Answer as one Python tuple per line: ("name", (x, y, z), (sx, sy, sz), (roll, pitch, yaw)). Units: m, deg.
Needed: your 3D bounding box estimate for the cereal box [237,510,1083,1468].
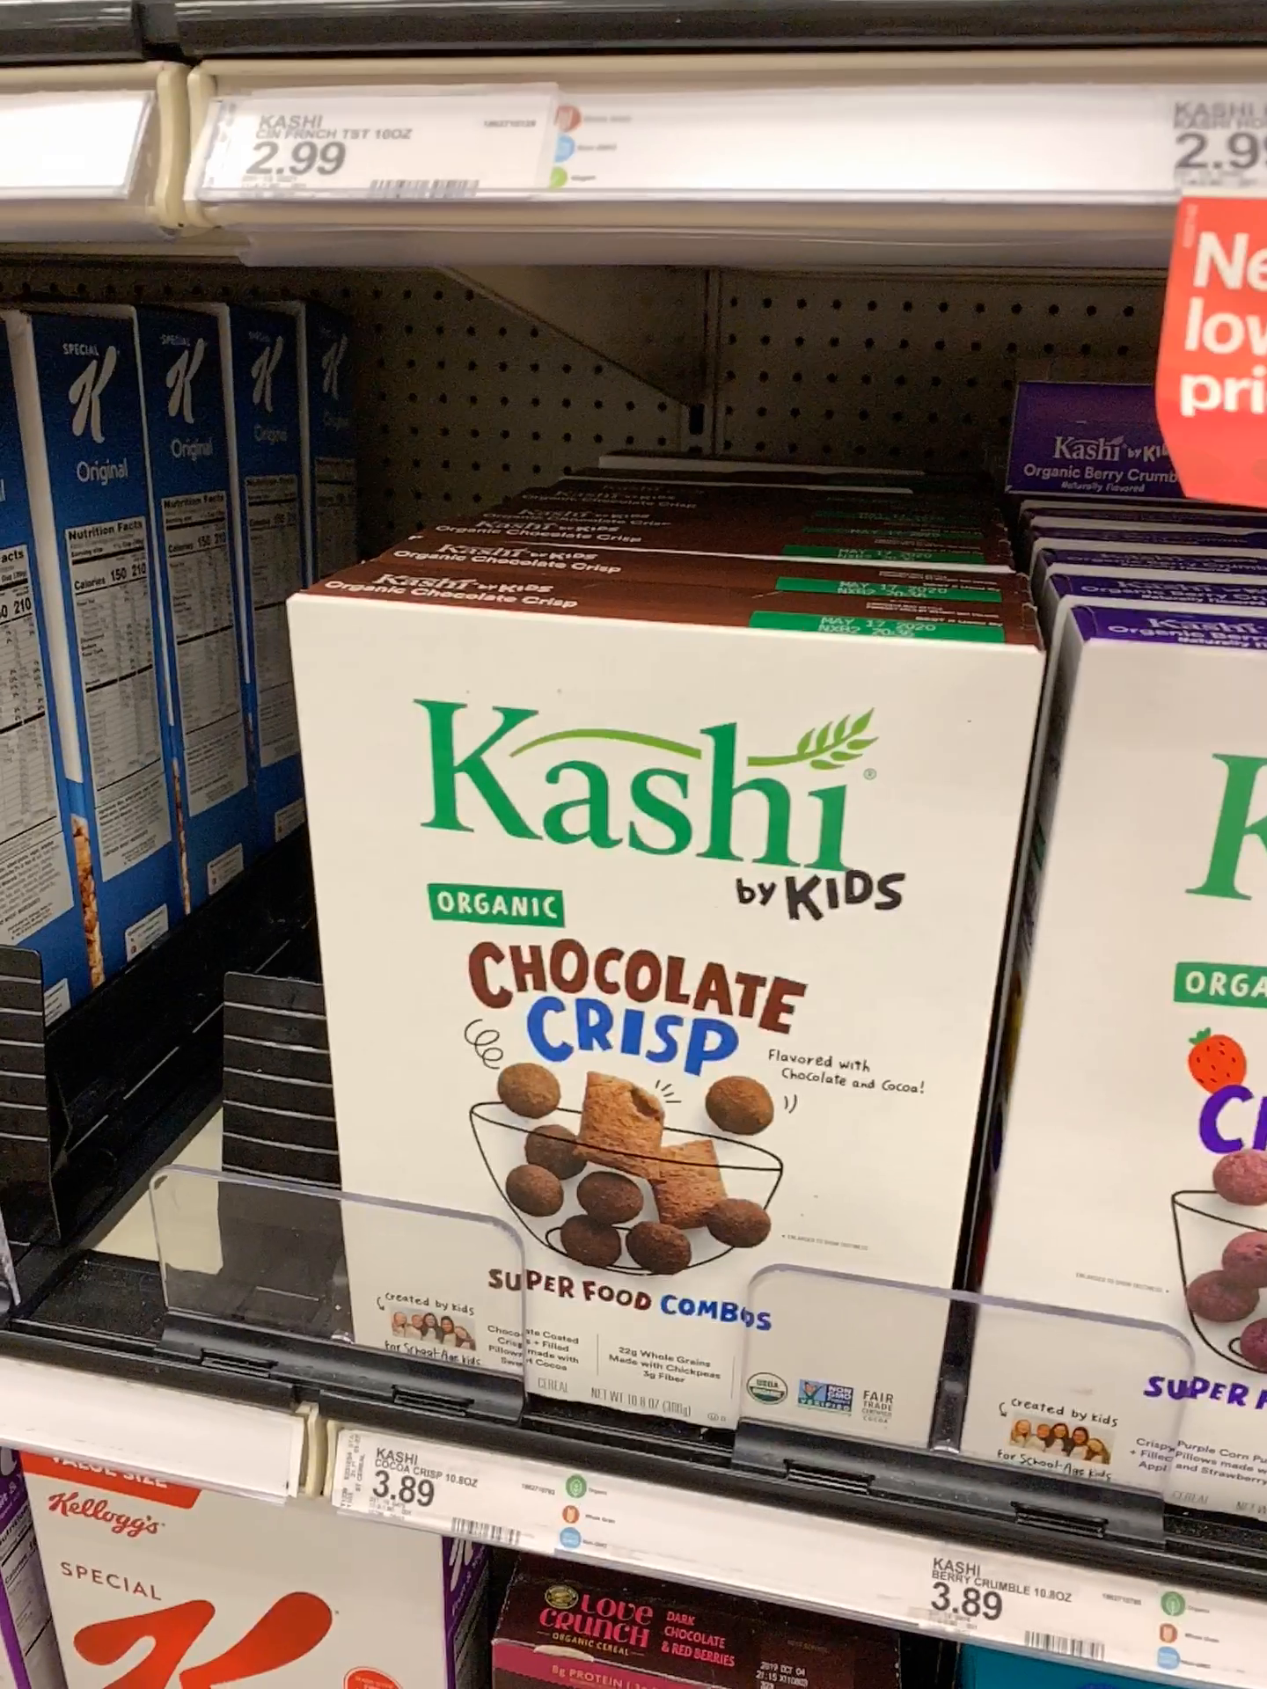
("cereal box", (0.005, 0.044, 0.381), (0.200, 0.259, 0.060), (6, 24, 11))
